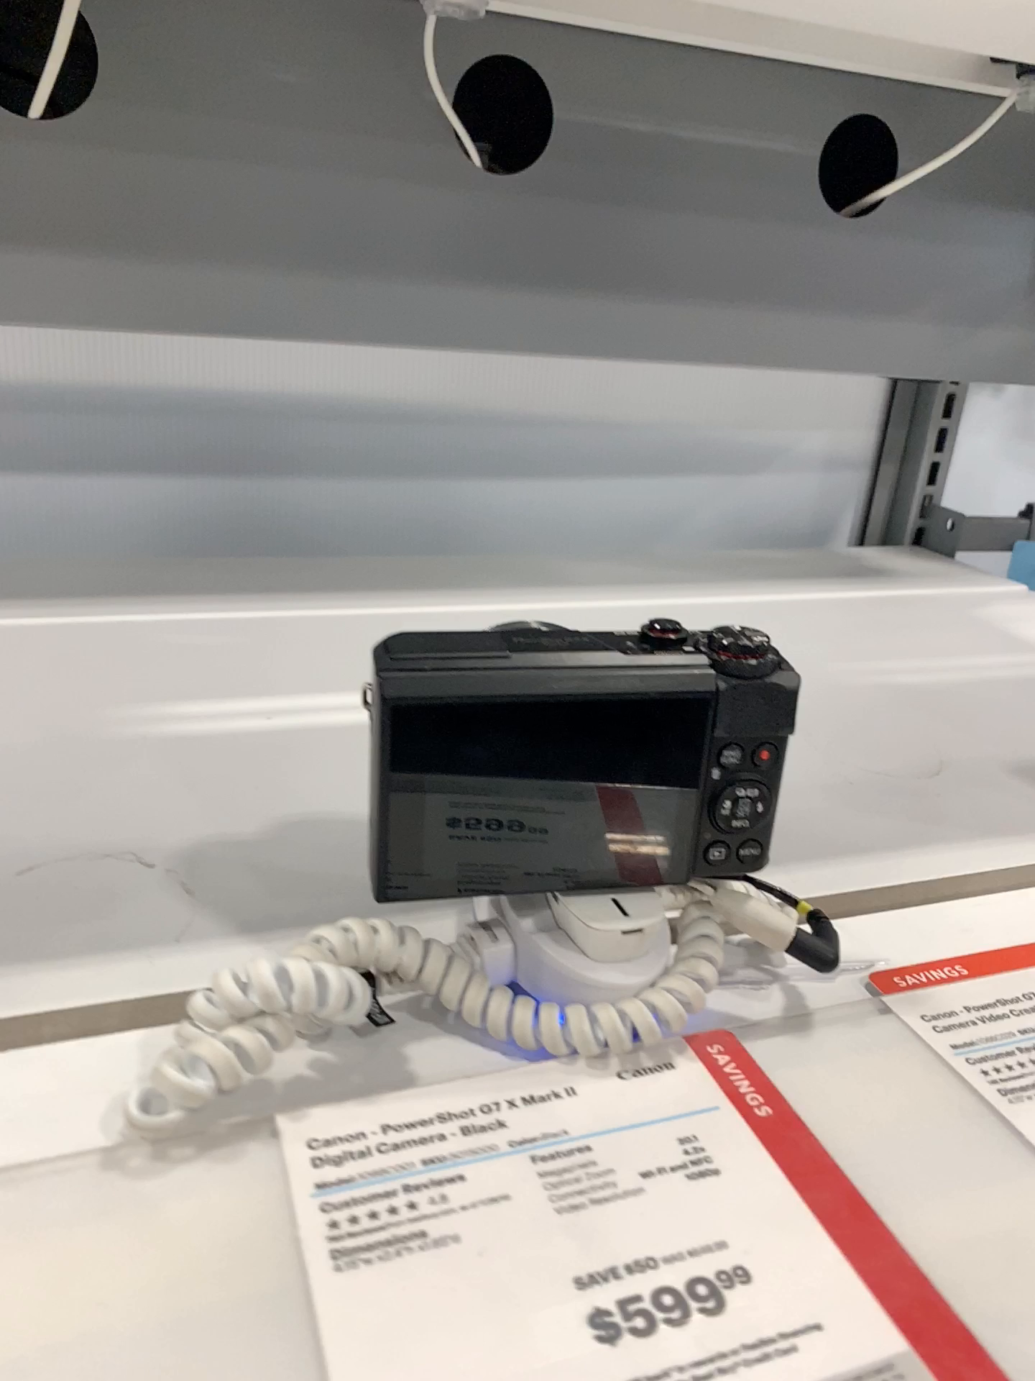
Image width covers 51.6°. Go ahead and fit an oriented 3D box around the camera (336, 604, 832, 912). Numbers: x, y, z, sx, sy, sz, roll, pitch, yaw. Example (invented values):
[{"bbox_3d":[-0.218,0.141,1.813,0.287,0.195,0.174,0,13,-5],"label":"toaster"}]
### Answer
[{"bbox_3d":[0.013,0.015,0.269,0.110,0.060,0.044,0,22,-15],"label":"camera"}]
